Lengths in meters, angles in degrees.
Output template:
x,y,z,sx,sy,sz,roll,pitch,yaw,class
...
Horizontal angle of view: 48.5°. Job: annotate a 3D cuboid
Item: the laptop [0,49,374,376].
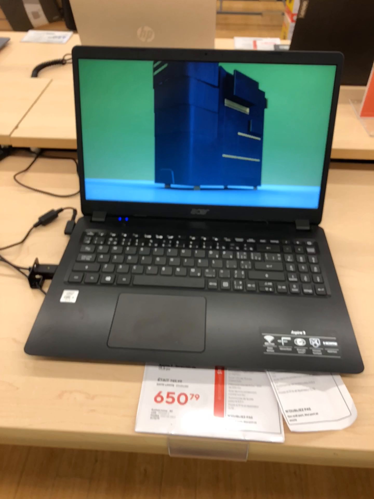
x,y,z,sx,sy,sz,roll,pitch,yaw,class
0.016,-0.067,0.491,0.354,0.210,0.329,3,42,3,laptop
